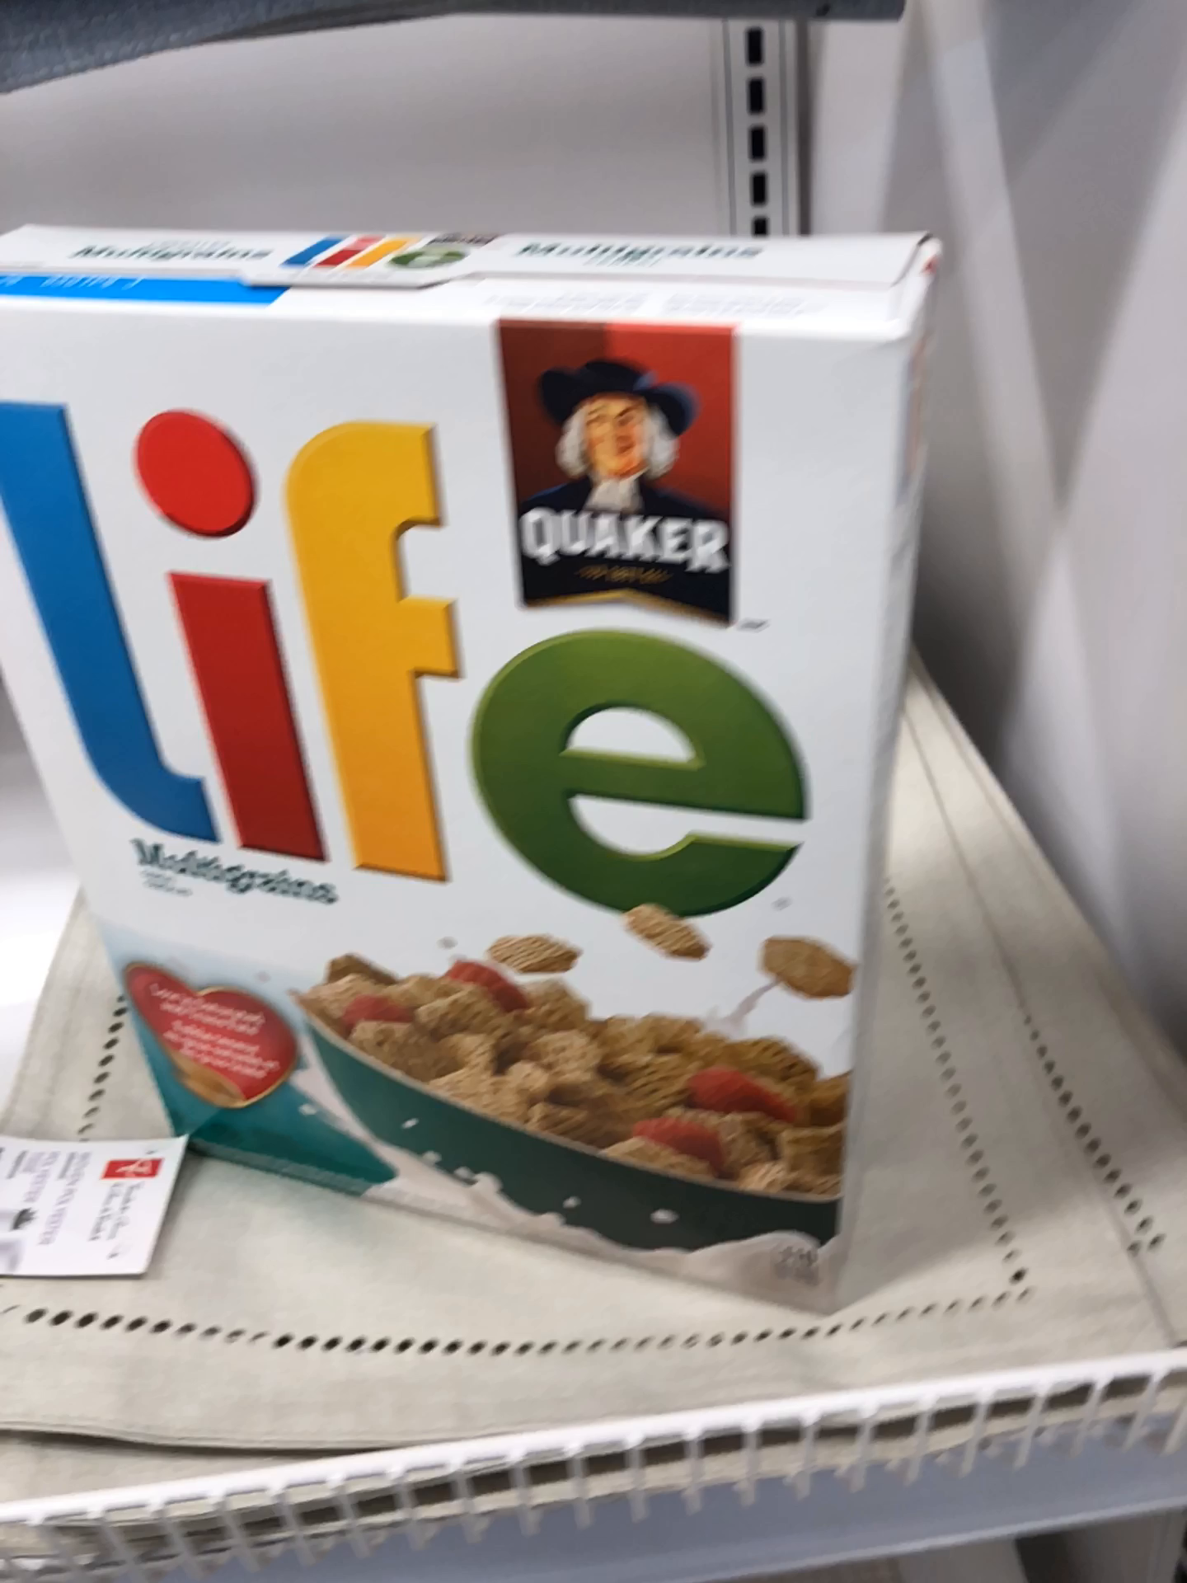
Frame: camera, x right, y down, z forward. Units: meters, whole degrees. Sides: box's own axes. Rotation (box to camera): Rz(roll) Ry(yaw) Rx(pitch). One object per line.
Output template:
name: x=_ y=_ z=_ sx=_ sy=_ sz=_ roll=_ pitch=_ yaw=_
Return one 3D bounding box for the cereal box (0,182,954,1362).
cereal box: x=-0.036 y=0.006 z=0.332 sx=0.210 sy=0.279 sz=0.060 roll=9 pitch=36 yaw=17
